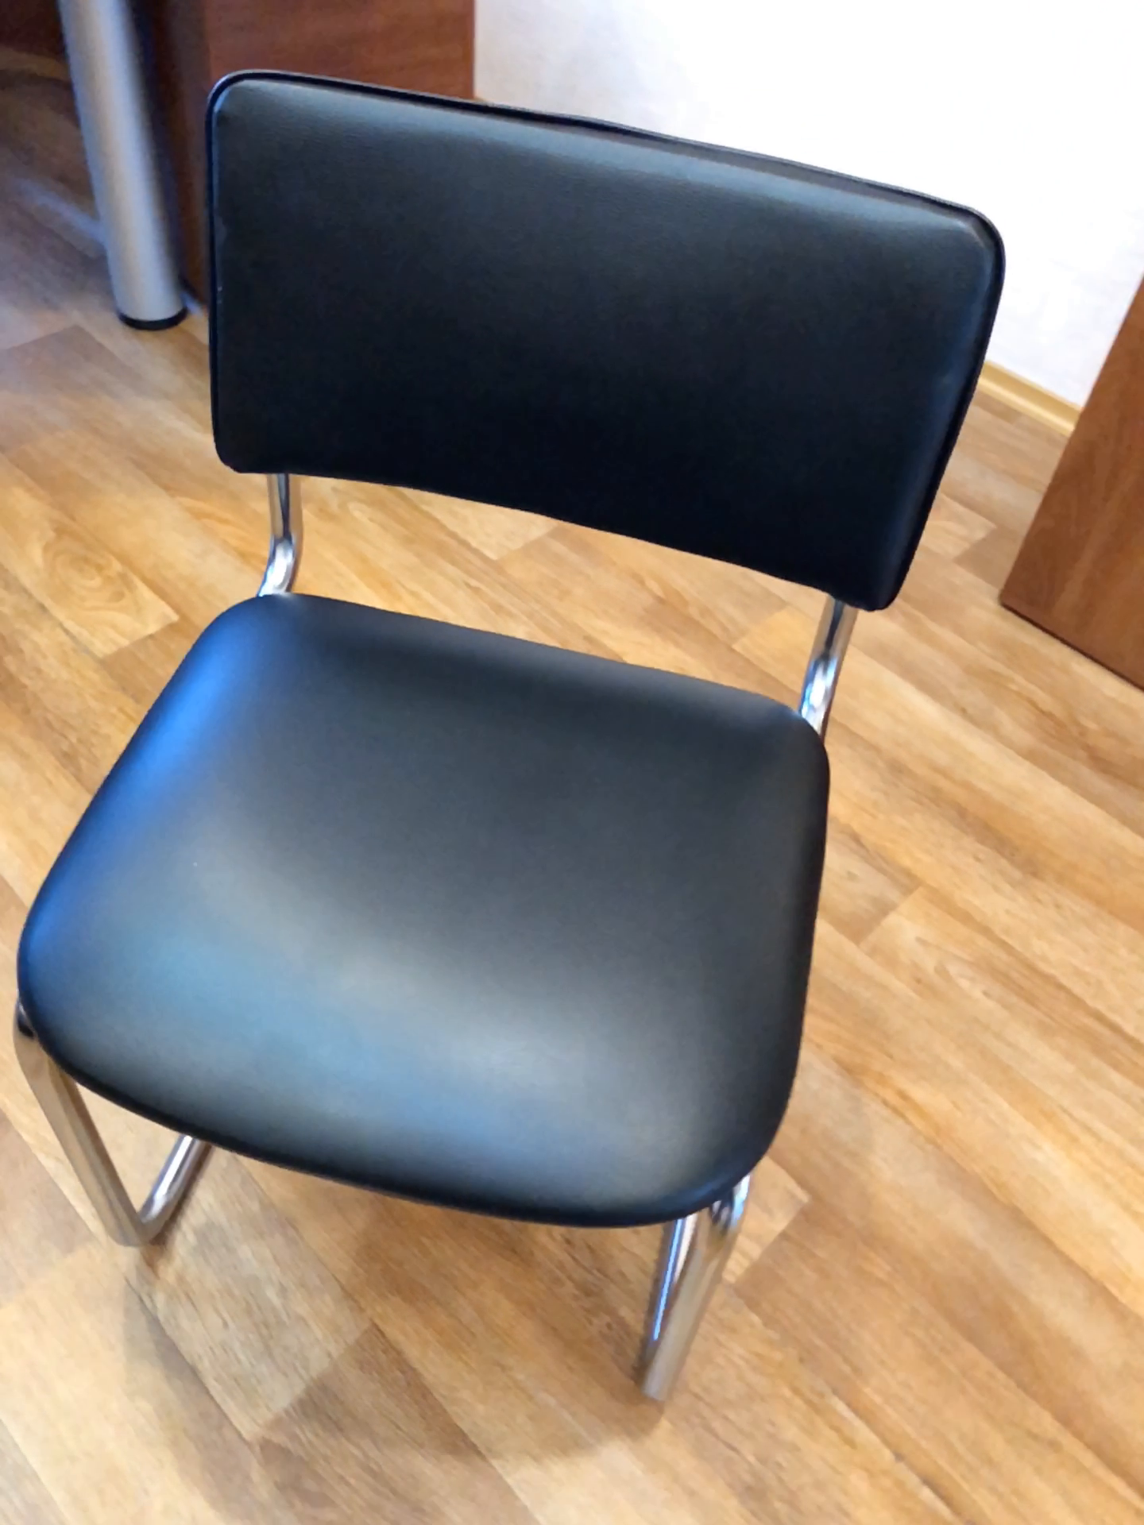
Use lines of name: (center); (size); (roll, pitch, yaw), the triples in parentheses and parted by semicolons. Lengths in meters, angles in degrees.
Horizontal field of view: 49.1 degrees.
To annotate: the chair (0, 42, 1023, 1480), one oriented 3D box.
chair: (-0.071, 0.044, 0.857); (0.491, 0.745, 0.527); (14, 49, 6)
